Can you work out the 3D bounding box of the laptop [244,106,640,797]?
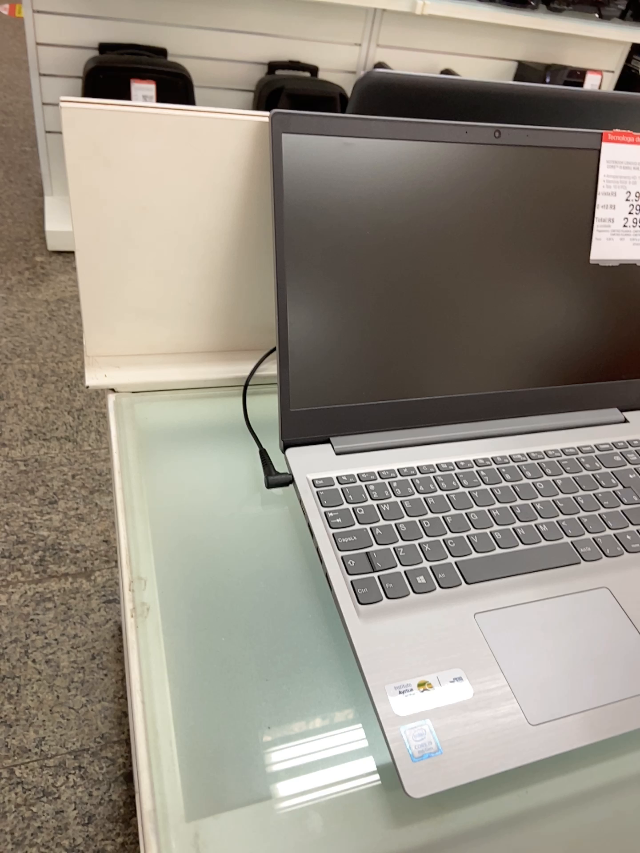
[{"bbox_3d":[0.171,-0.033,0.439,0.354,0.195,0.371,-5,45,-19],"label":"laptop"}]
